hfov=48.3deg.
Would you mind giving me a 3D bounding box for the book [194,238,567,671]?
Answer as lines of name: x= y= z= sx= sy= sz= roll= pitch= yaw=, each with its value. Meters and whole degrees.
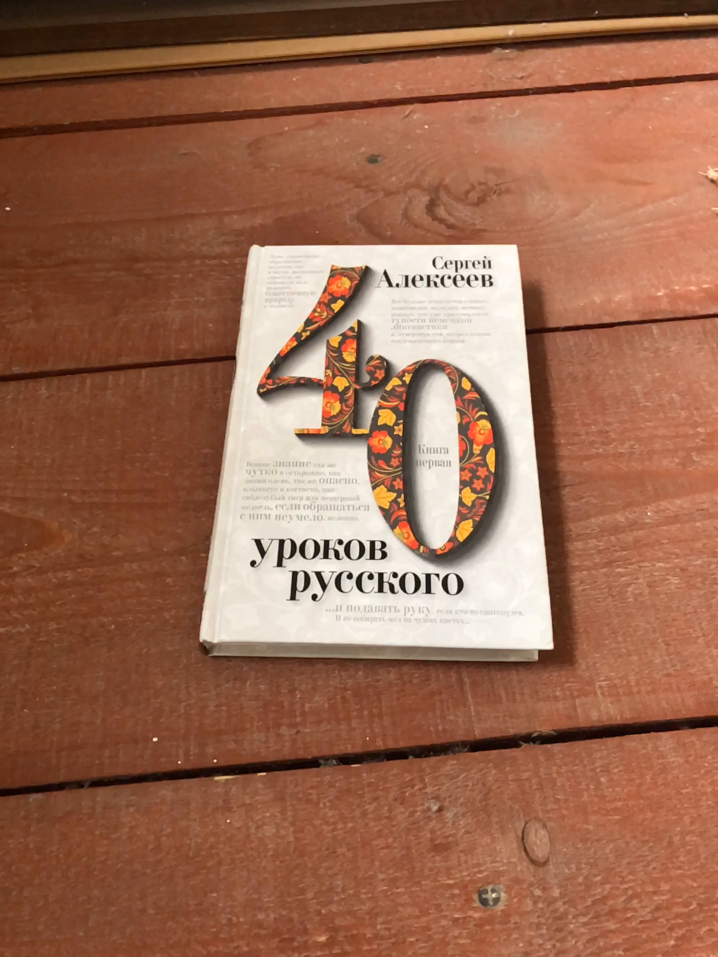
book: x=0.010 y=-0.021 z=0.350 sx=0.135 sy=0.030 sz=0.200 roll=1 pitch=61 yaw=2
